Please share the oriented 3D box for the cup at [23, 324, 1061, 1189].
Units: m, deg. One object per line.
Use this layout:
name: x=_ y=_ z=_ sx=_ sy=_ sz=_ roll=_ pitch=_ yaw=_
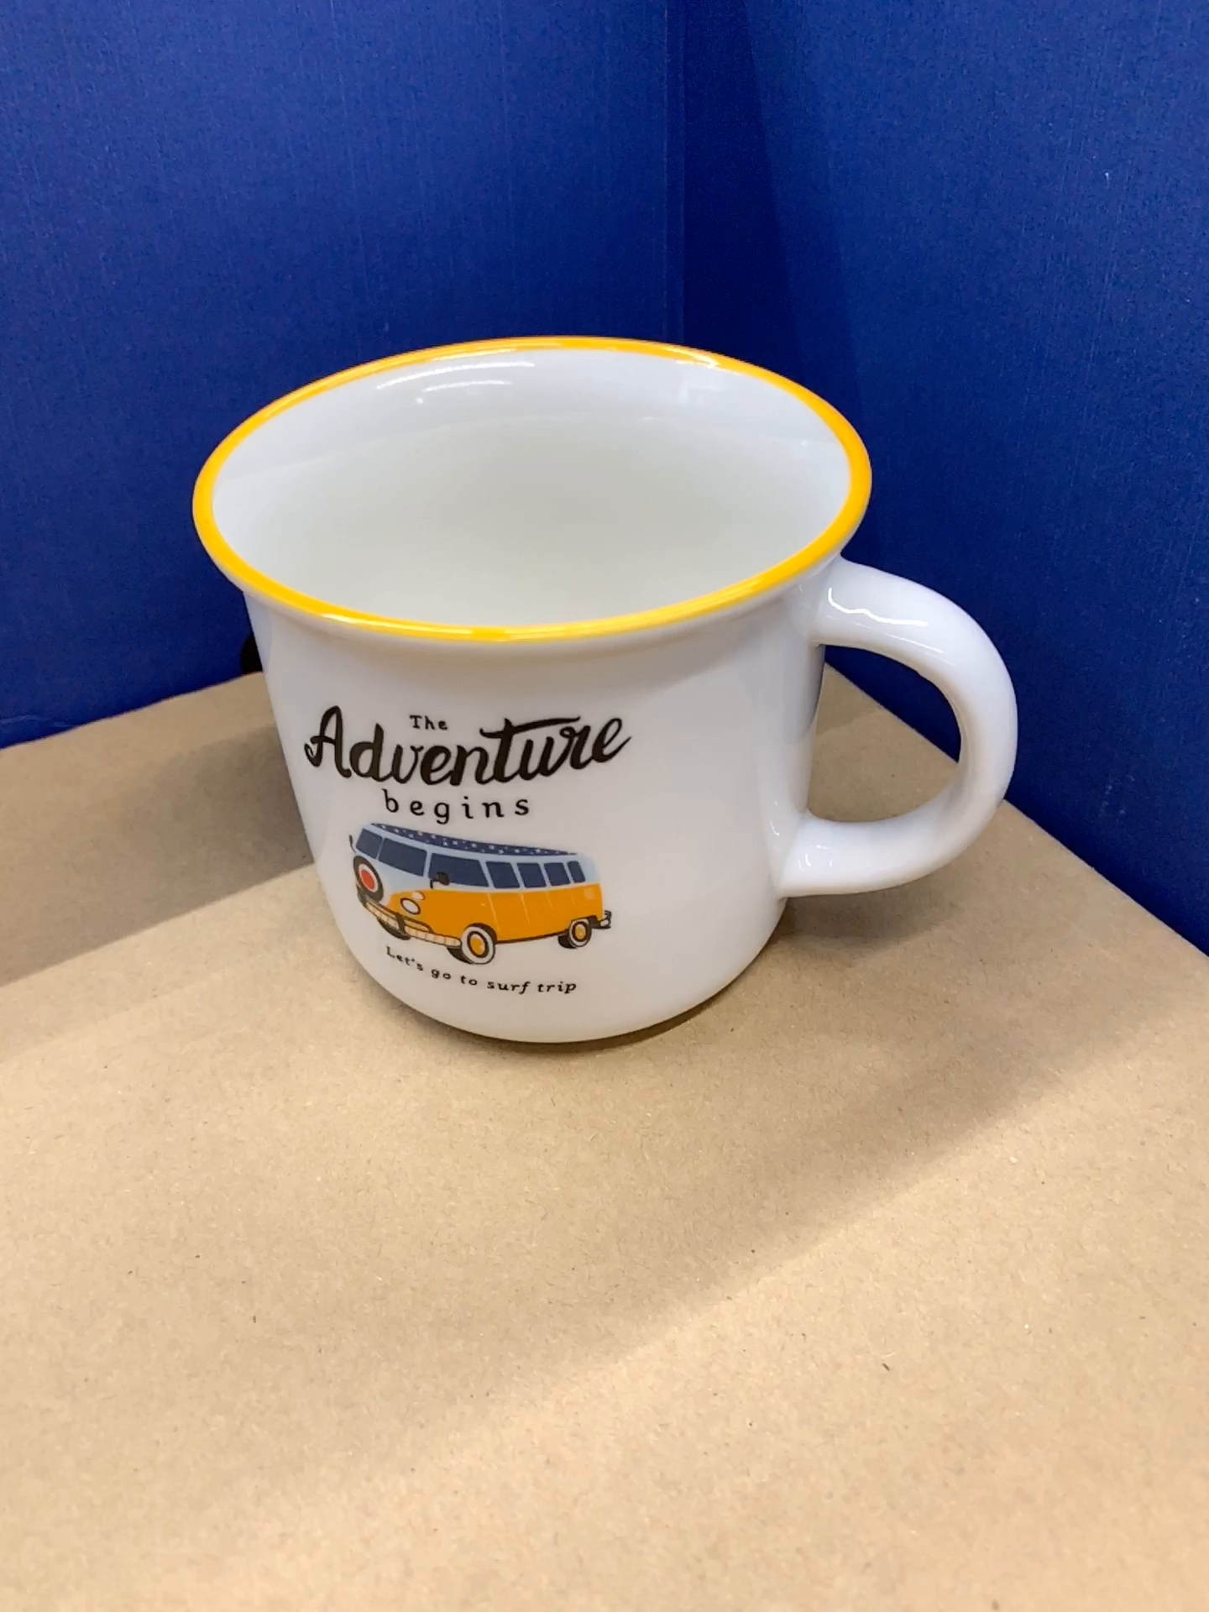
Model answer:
cup: x=0.001 y=-0.018 z=0.207 sx=0.124 sy=0.083 sz=0.102 roll=8 pitch=39 yaw=13
